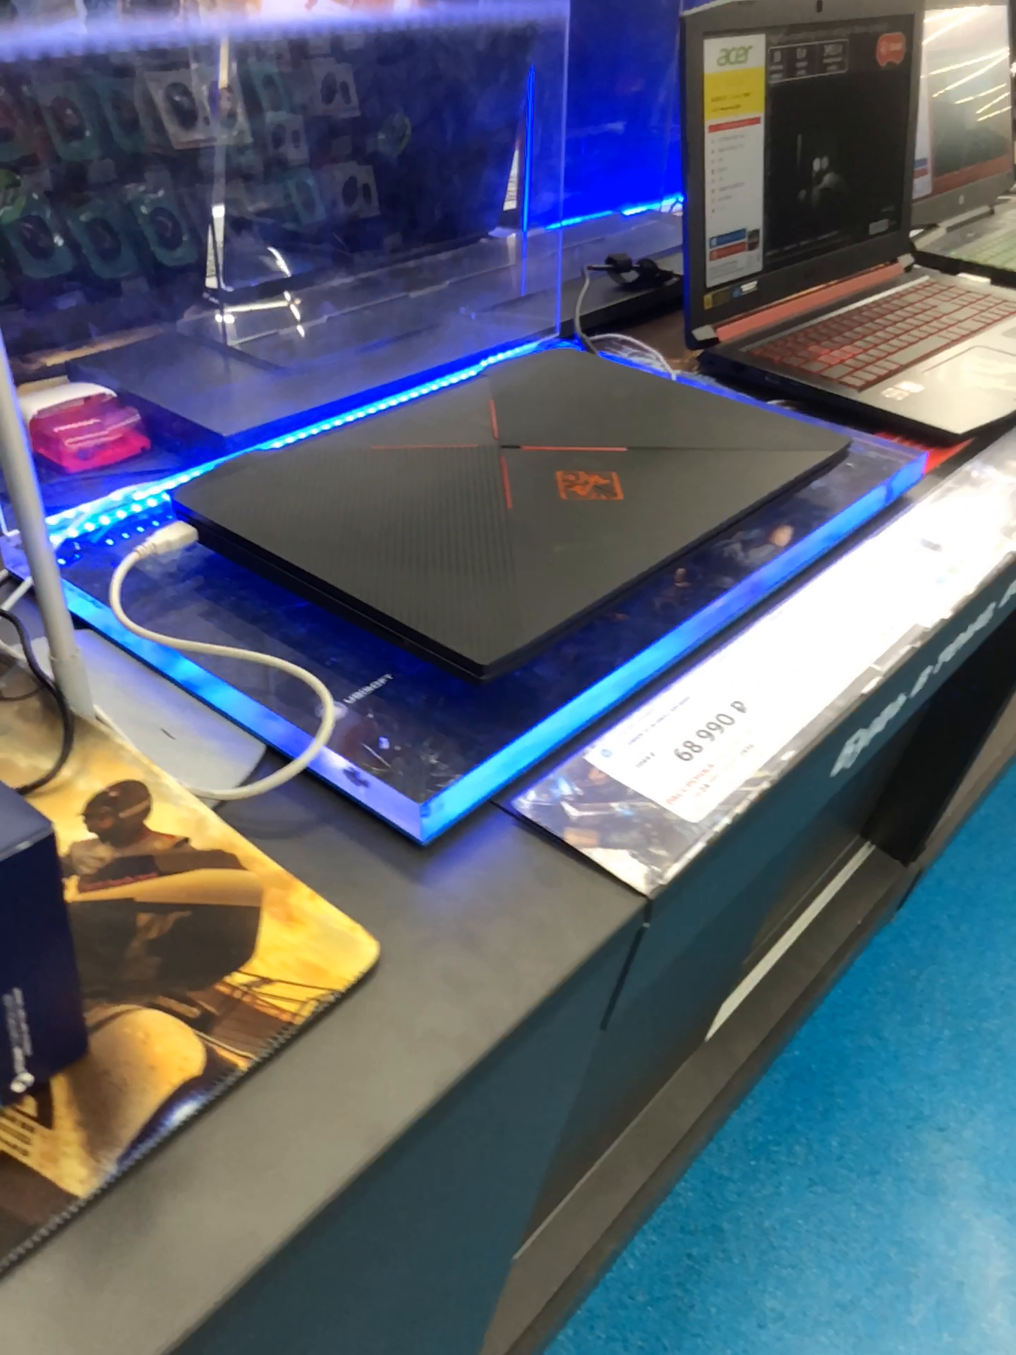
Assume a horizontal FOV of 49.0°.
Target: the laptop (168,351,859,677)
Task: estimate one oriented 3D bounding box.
[{"bbox_3d":[0.018,-0.122,0.670,0.237,0.003,0.350,29,44,32],"label":"laptop"}]
